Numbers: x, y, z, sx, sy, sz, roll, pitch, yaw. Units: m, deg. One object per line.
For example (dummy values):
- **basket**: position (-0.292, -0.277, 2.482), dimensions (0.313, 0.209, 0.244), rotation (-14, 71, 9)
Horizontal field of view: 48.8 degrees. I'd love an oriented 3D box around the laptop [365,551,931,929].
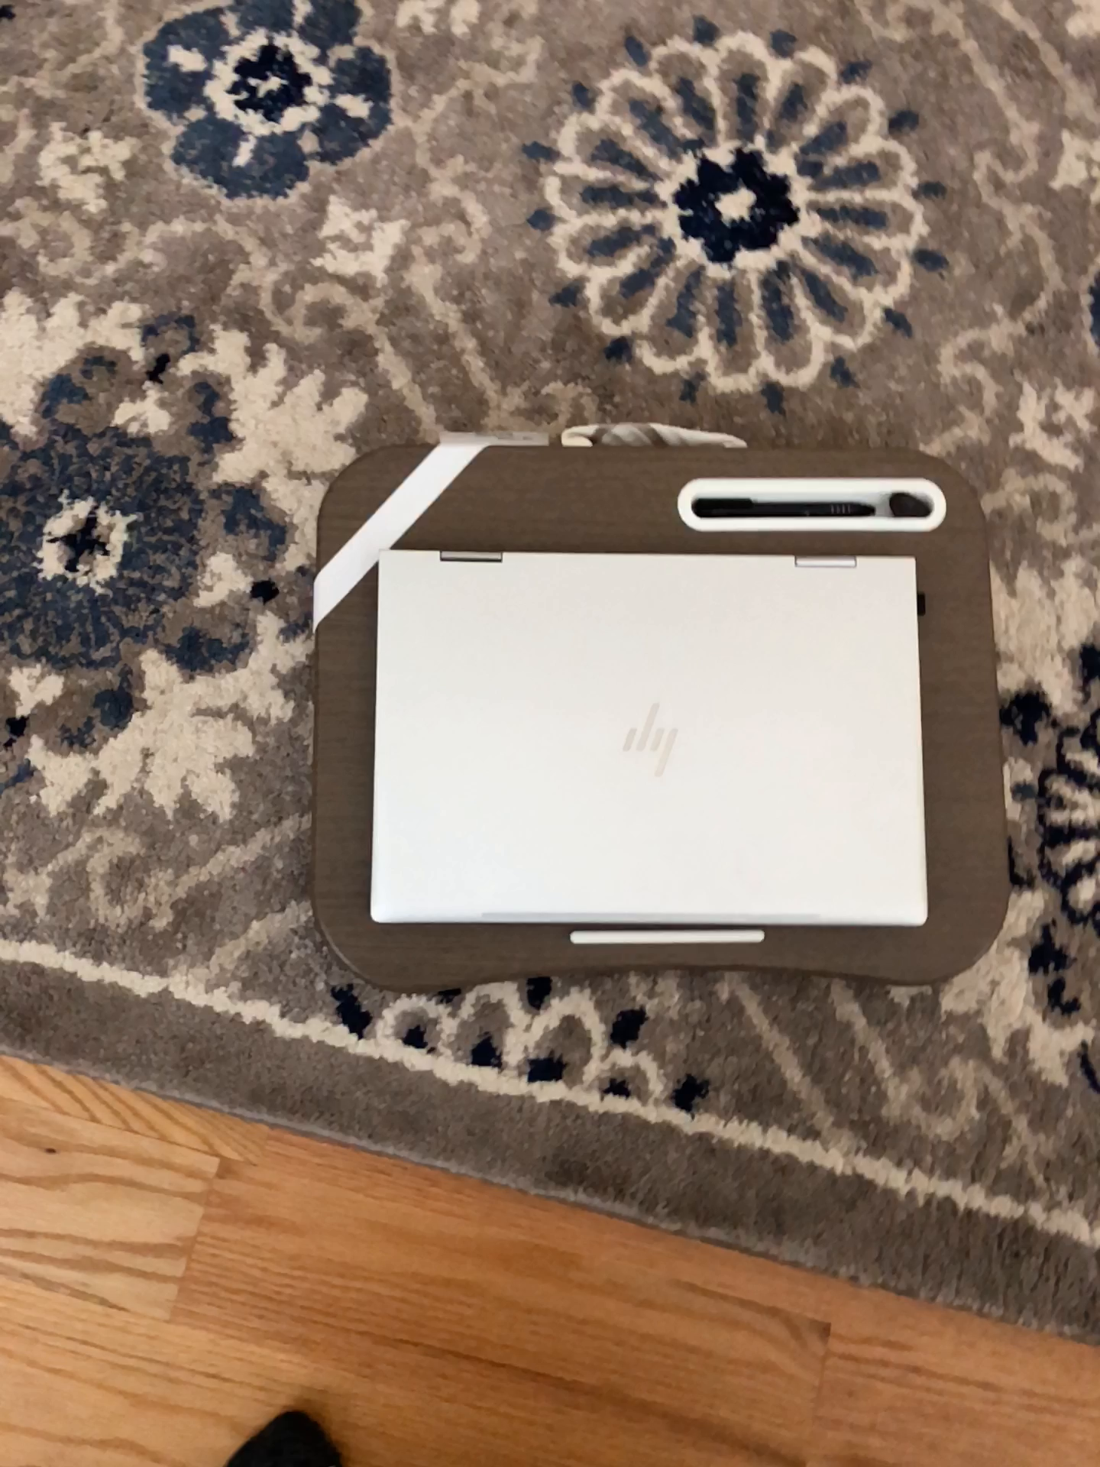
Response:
- **laptop**: position (0.063, 0.004, 0.789), dimensions (0.354, 0.026, 0.241), rotation (1, 81, -2)
